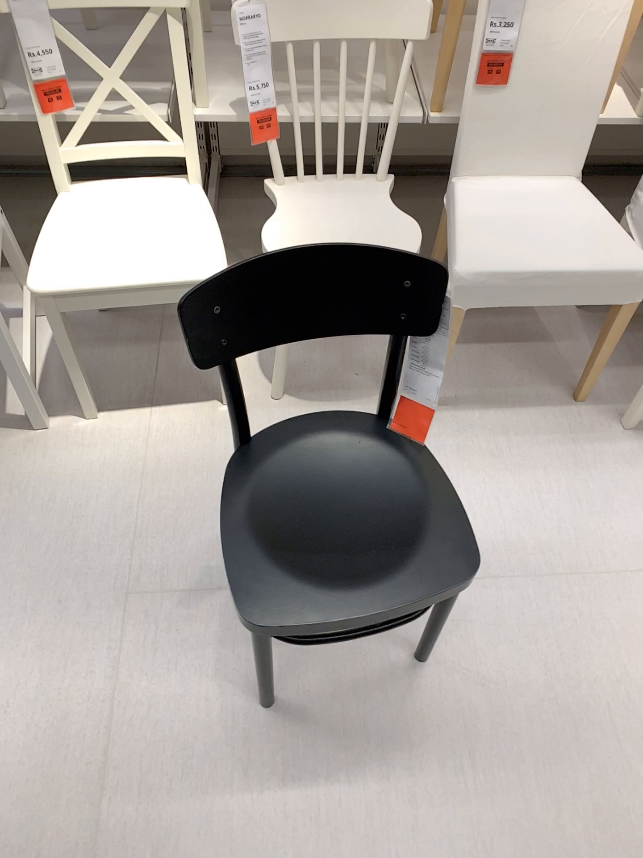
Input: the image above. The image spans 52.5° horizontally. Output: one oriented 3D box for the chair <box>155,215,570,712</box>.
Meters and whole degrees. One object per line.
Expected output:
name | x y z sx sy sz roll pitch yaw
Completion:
chair | 0.010 0.112 1.176 0.430 0.768 0.471 -11 55 -11
